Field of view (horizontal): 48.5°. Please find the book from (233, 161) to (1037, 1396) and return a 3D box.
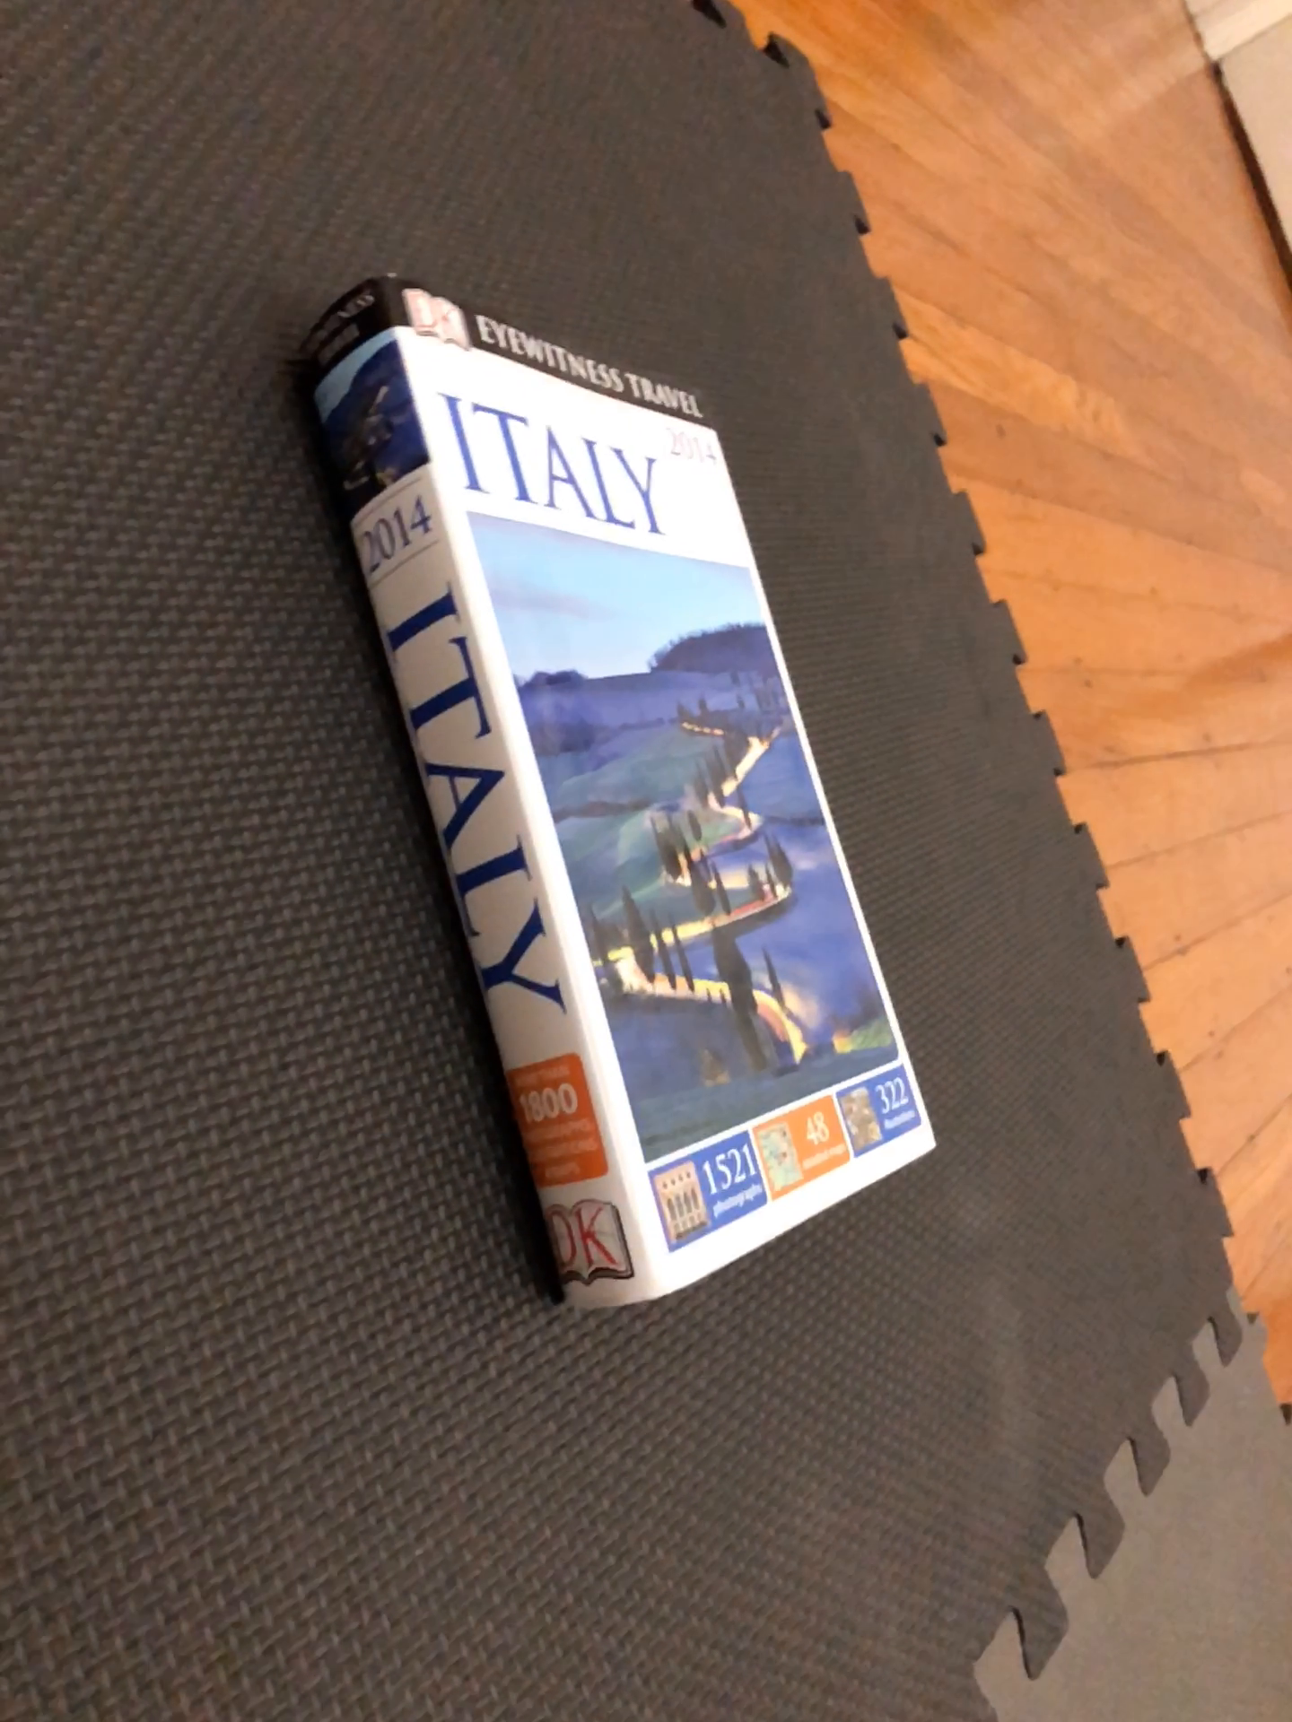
[{"bbox_3d":[0.009,-0.025,0.354,0.161,0.040,0.250,-9,80,-54],"label":"book"}]
